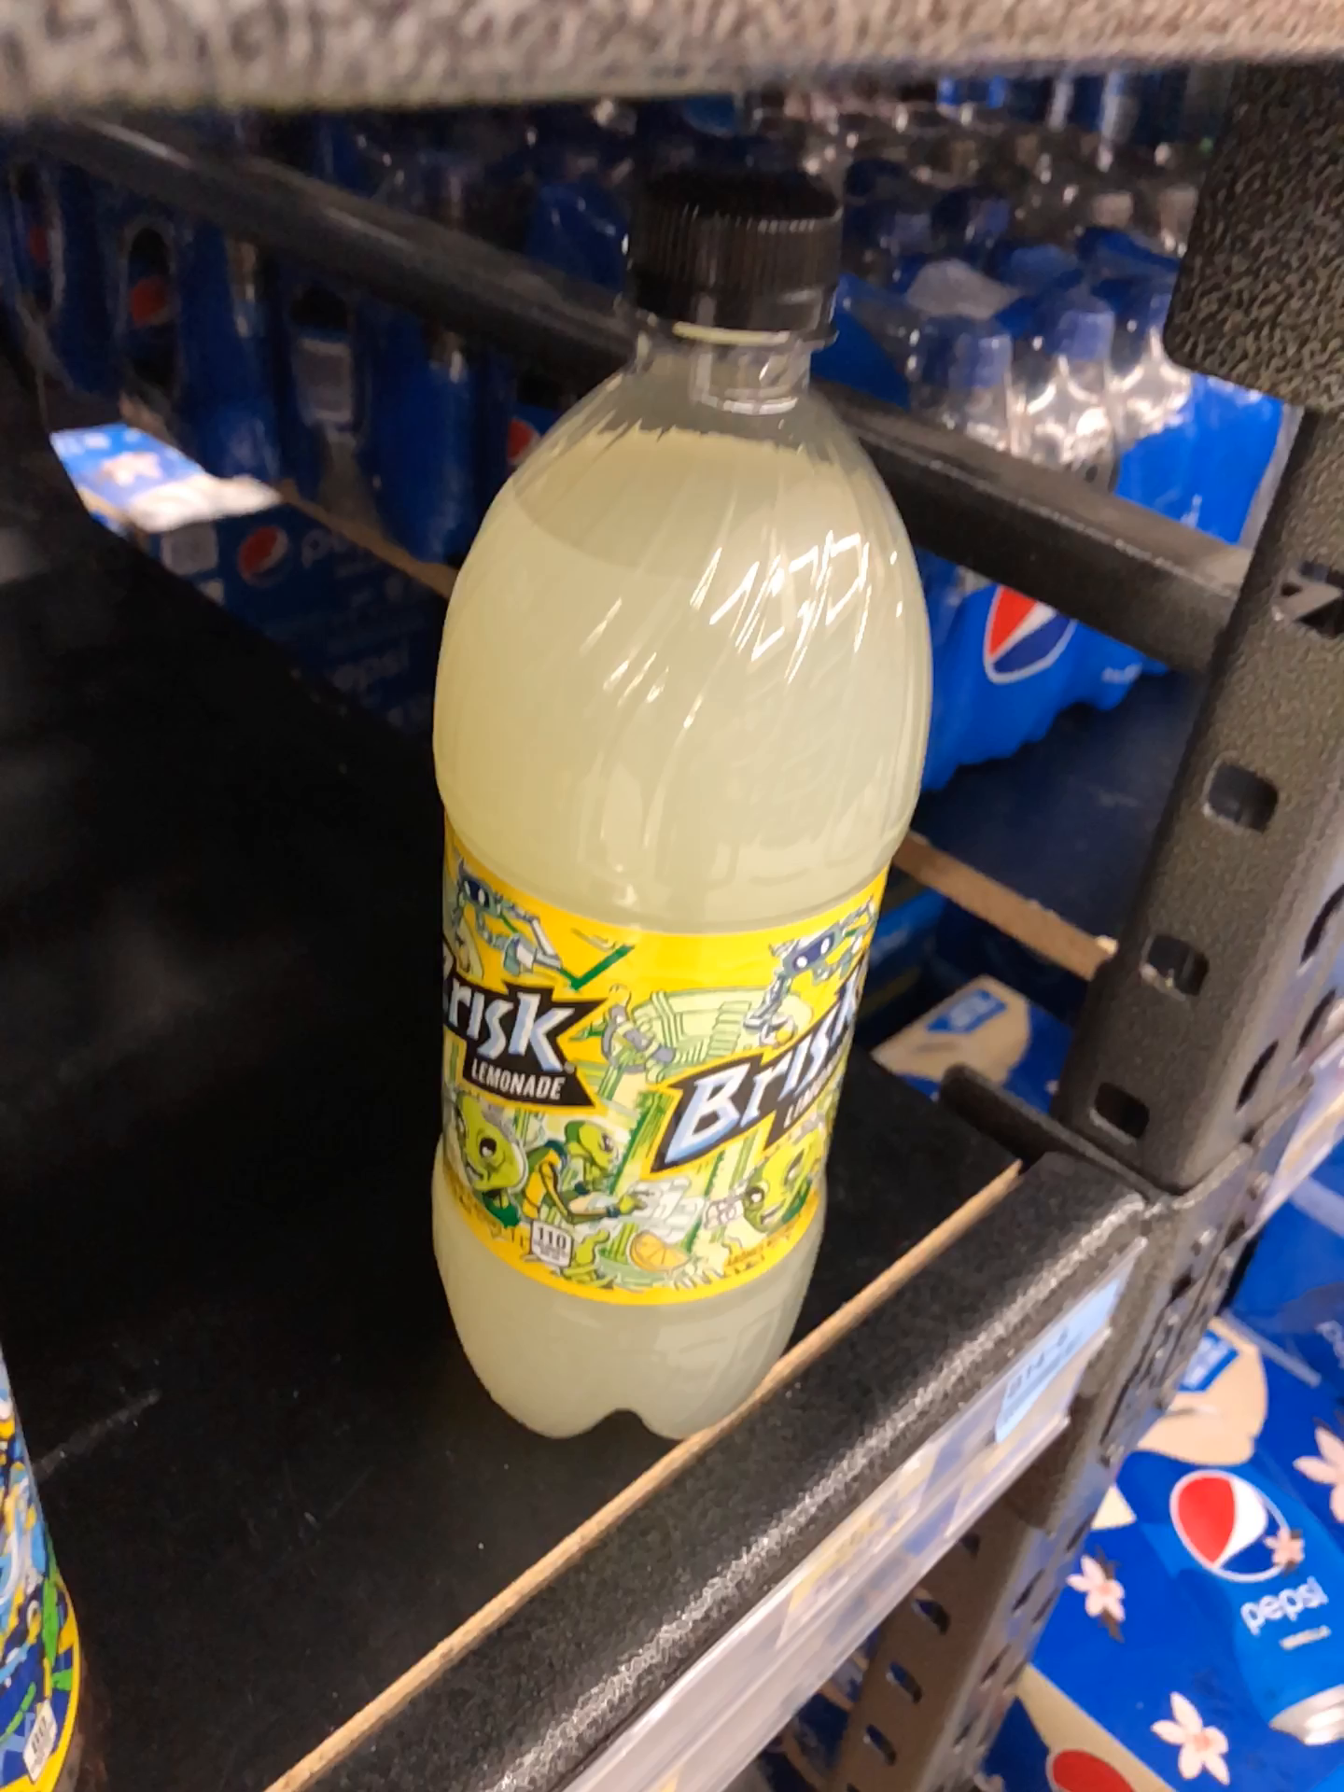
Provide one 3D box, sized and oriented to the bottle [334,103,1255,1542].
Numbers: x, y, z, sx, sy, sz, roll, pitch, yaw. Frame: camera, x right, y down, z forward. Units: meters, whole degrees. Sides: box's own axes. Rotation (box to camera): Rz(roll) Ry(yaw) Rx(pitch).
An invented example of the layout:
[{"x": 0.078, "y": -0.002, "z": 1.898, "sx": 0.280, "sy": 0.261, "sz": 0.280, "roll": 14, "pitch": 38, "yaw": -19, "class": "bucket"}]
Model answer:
[{"x": 0.005, "y": -0.006, "z": 0.271, "sx": 0.090, "sy": 0.228, "sz": 0.090, "roll": 5, "pitch": 36, "yaw": -4, "class": "bottle"}]
